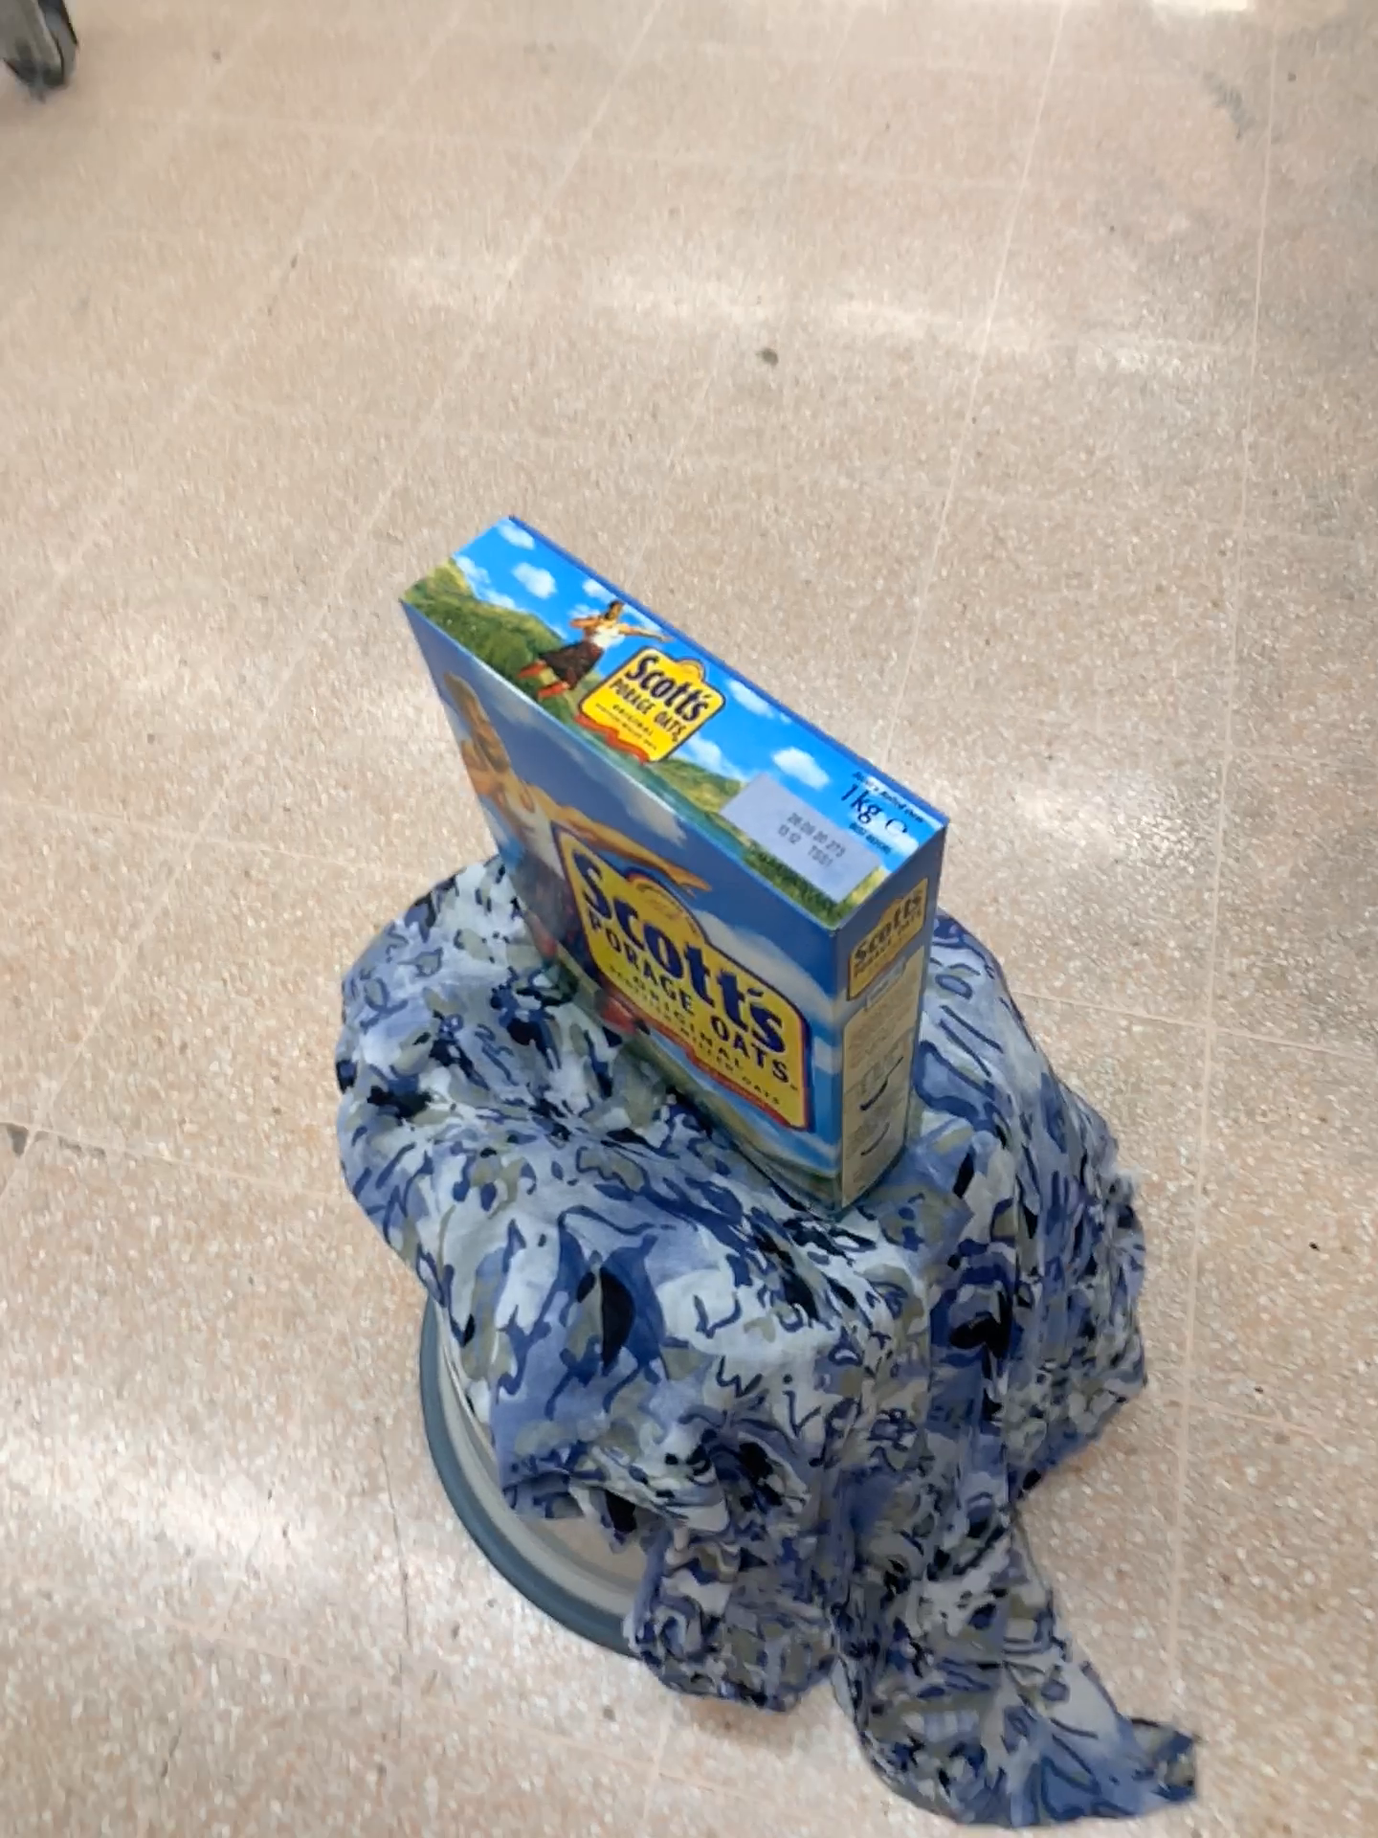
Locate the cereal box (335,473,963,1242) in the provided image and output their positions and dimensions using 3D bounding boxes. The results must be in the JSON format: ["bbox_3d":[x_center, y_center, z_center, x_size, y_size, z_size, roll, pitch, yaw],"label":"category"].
[{"bbox_3d":[-0.008,-0.008,0.527,0.211,0.249,0.060,39,71,25],"label":"cereal box"}]
